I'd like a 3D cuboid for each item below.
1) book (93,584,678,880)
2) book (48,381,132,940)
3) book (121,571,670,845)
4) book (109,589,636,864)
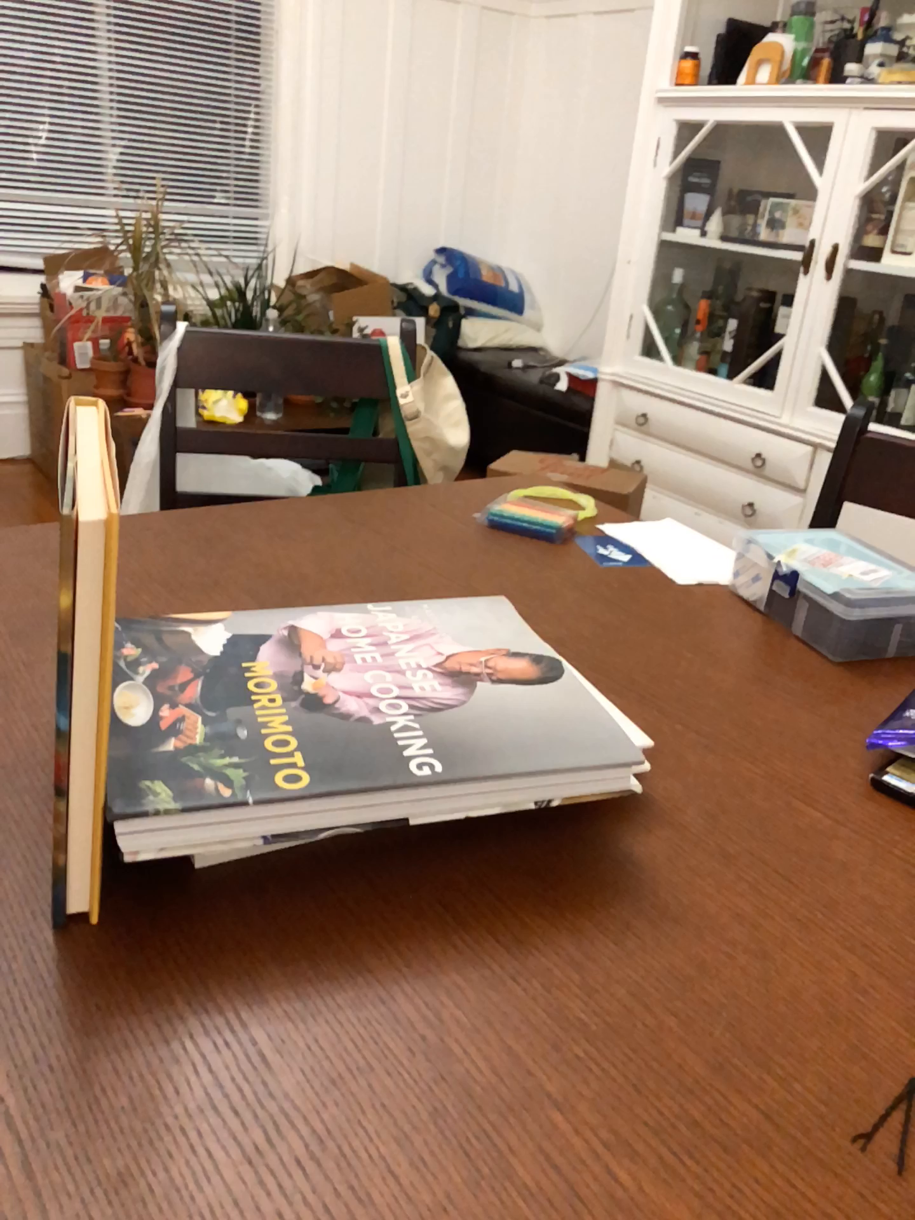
[{"bbox_3d":[-0.055,0.050,0.575,0.280,0.030,0.221,-4,25,-20],"label":"book"},{"bbox_3d":[-0.187,0.012,0.516,0.030,0.209,0.211,0,24,-19],"label":"book"},{"bbox_3d":[-0.048,0.042,0.634,0.280,0.030,0.221,-7,26,-25],"label":"book"},{"bbox_3d":[-0.063,0.057,0.665,0.280,0.030,0.221,-8,27,-27],"label":"book"}]
